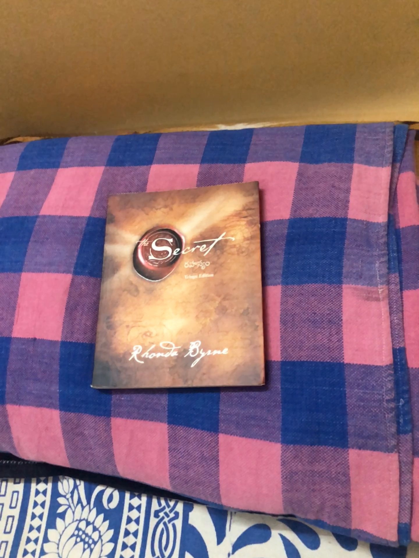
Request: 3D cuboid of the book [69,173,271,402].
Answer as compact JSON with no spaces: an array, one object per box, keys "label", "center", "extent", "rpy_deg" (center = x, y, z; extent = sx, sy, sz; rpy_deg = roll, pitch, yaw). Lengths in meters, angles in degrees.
[{"label":"book","center":[-0.028,0.003,0.385],"extent":[0.150,0.020,0.190],"rpy_deg":[-5,62,13]}]
